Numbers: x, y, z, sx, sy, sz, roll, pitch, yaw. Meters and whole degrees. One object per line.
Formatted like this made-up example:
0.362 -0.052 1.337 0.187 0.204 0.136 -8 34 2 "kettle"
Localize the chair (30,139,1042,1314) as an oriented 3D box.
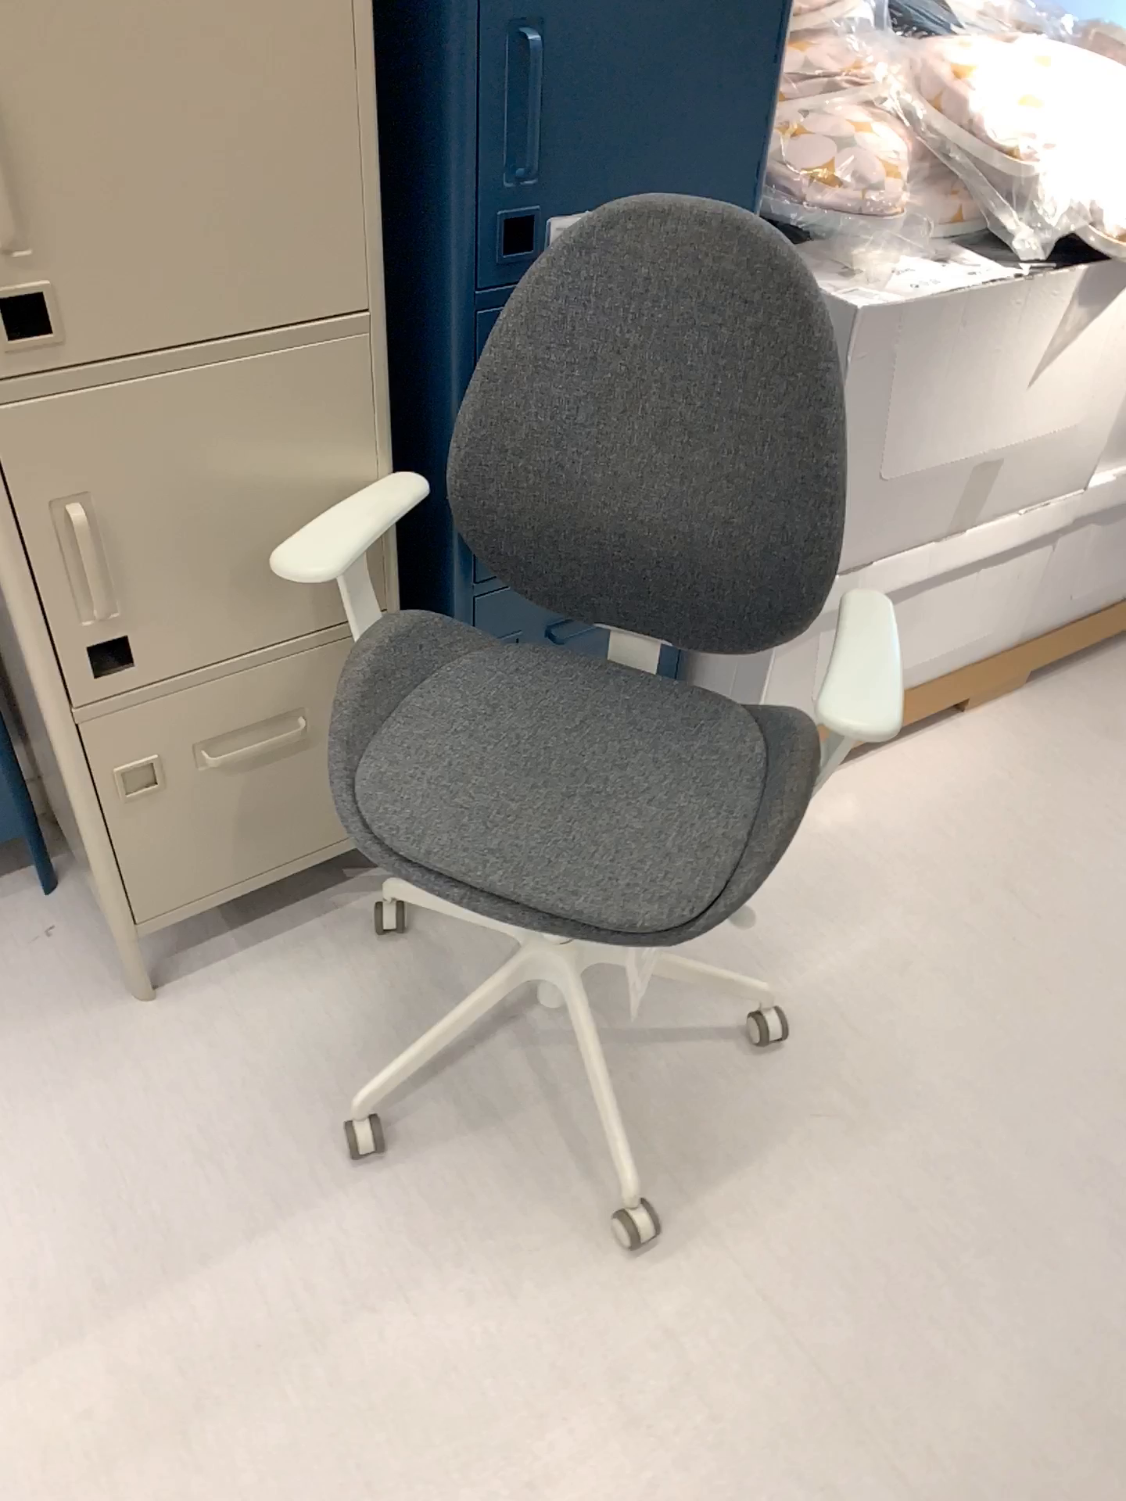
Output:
0.019 -0.016 1.297 0.650 0.996 0.672 17 44 13 "chair"
